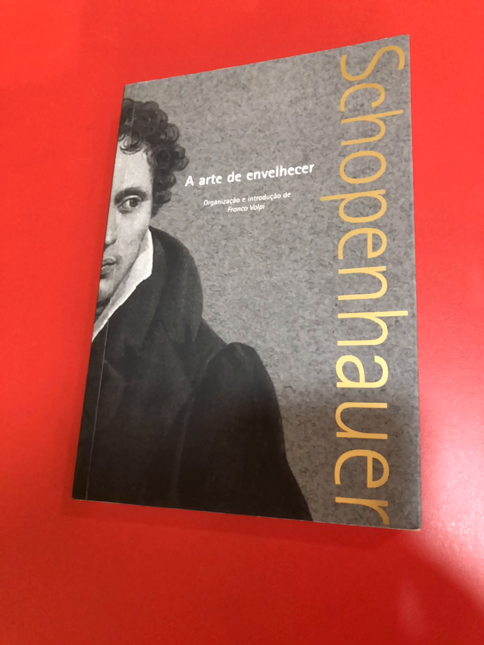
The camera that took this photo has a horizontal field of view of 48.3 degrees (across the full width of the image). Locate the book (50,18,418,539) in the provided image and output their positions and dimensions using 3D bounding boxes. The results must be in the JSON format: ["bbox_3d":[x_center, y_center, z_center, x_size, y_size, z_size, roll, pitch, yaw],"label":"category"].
[{"bbox_3d":[-0.002,-0.024,0.222,0.137,0.017,0.196,-1,75,18],"label":"book"}]
